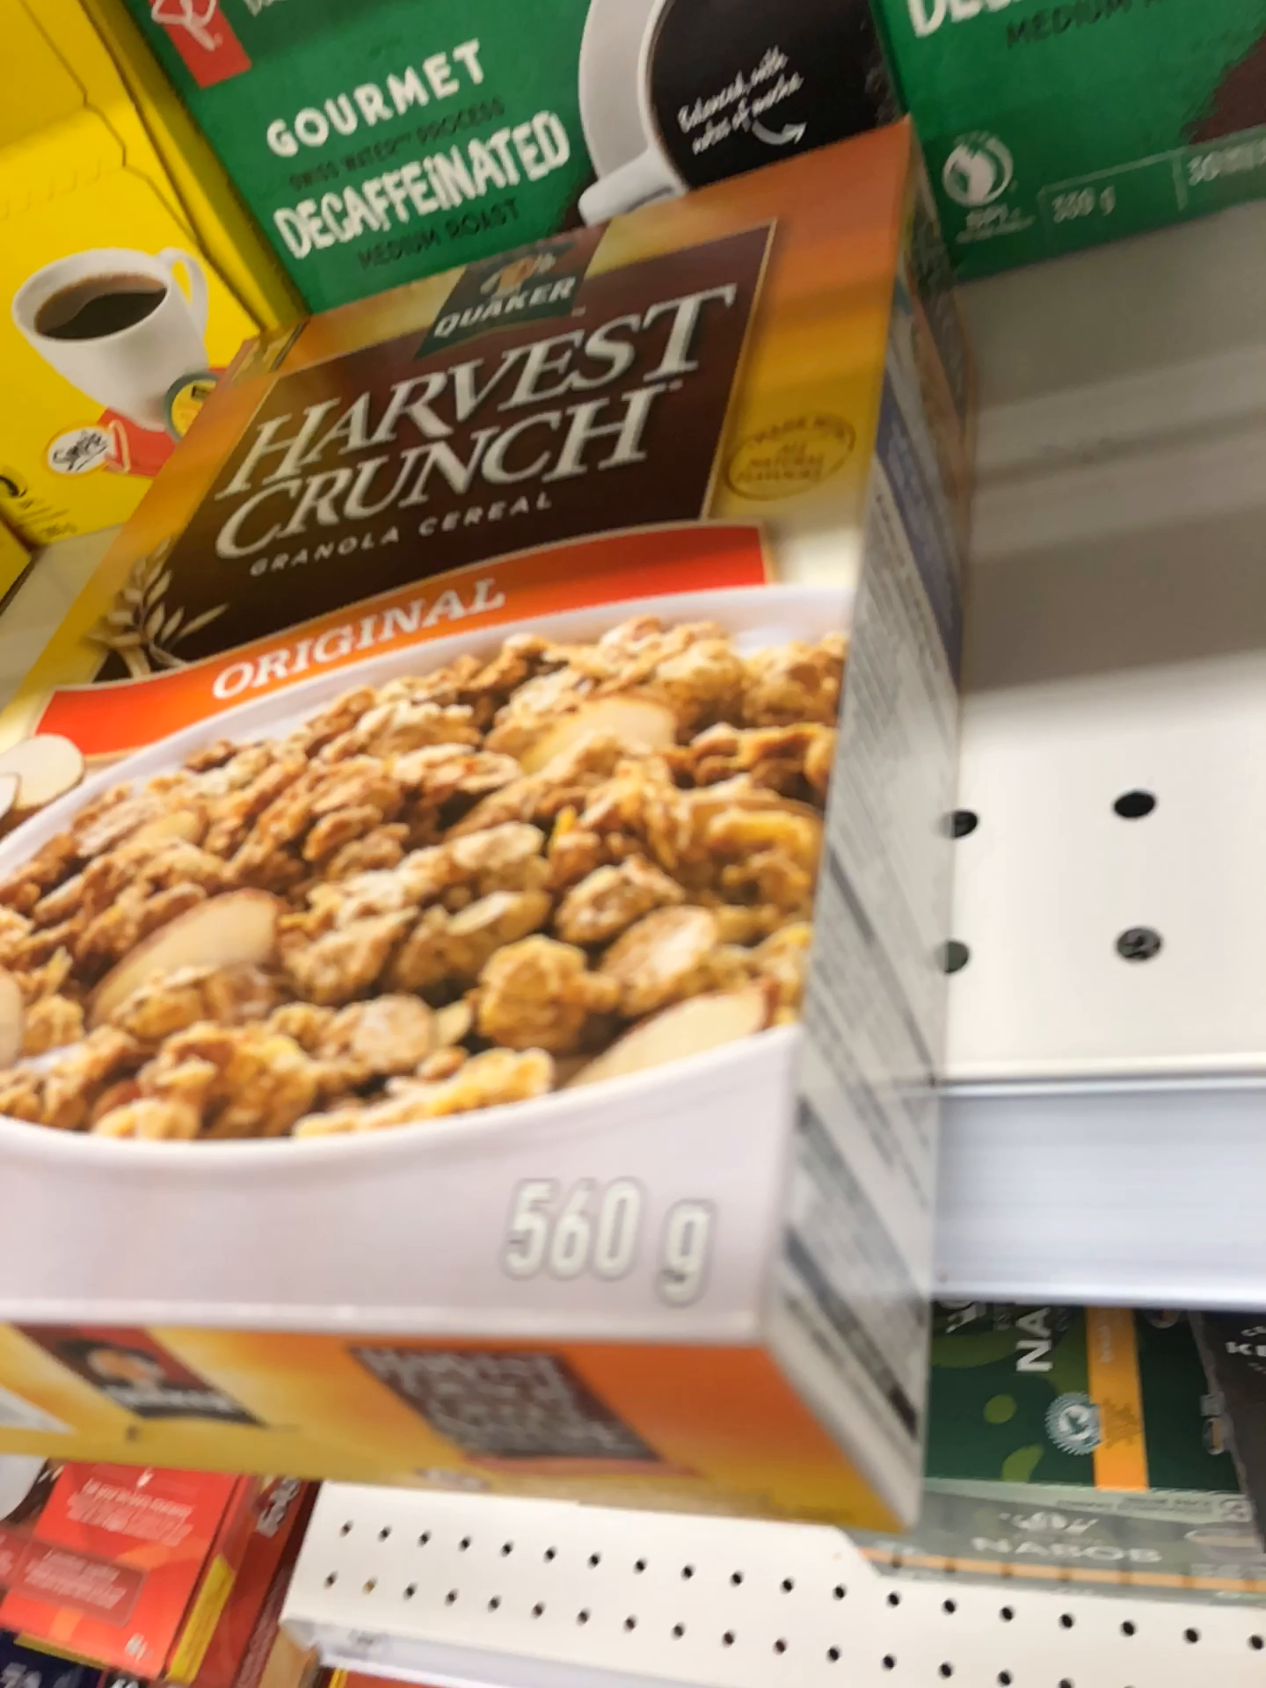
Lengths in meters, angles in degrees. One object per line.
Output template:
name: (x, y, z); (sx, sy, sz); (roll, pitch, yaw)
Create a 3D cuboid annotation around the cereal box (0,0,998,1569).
cereal box: (-0.030, -0.041, 0.244); (0.171, 0.050, 0.280); (-8, 46, 24)
